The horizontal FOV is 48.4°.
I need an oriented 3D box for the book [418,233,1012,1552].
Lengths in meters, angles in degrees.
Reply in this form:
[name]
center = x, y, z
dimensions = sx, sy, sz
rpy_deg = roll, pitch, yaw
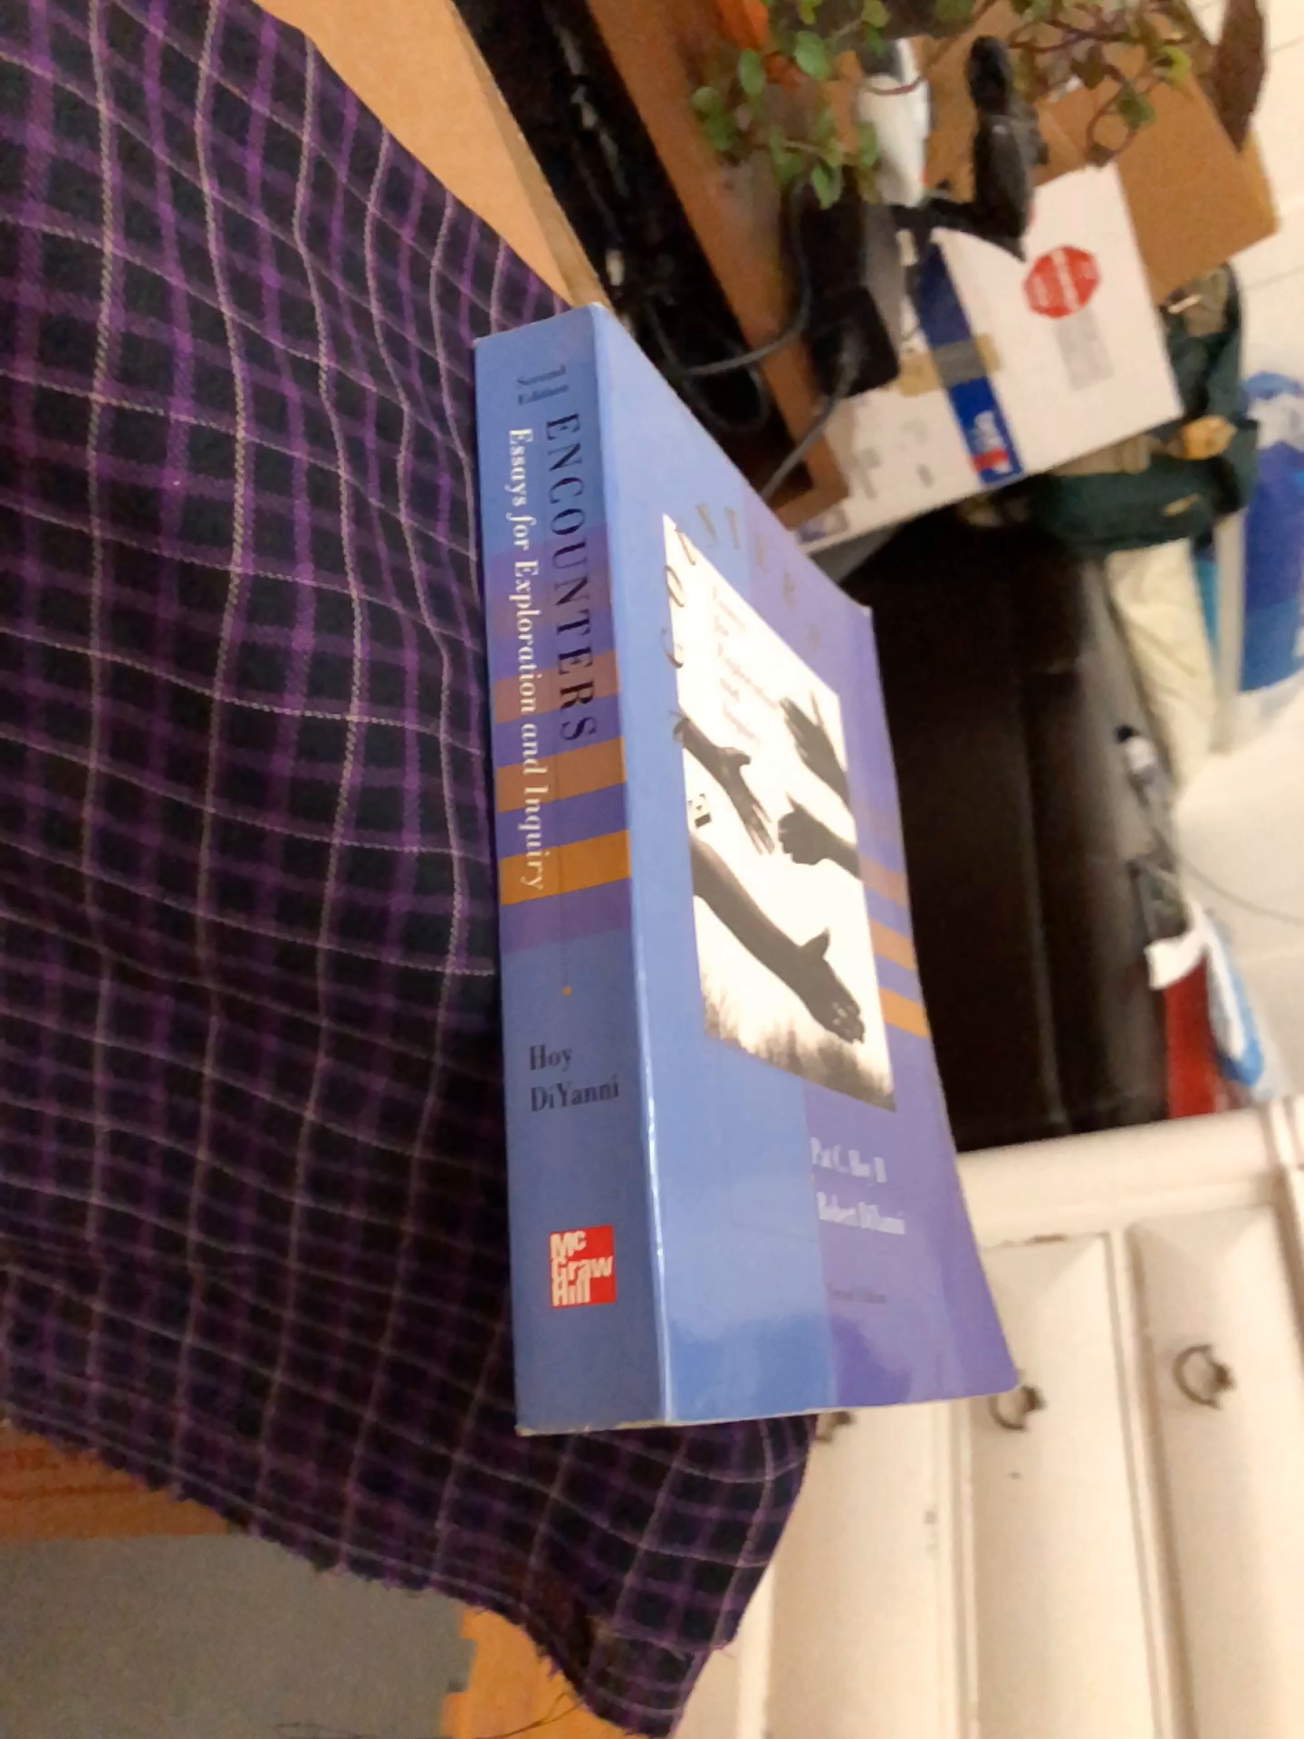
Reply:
[book]
center = 0.022, 0.014, 0.363
dimensions = 0.201, 0.040, 0.260
rpy_deg = 31, 49, -57
